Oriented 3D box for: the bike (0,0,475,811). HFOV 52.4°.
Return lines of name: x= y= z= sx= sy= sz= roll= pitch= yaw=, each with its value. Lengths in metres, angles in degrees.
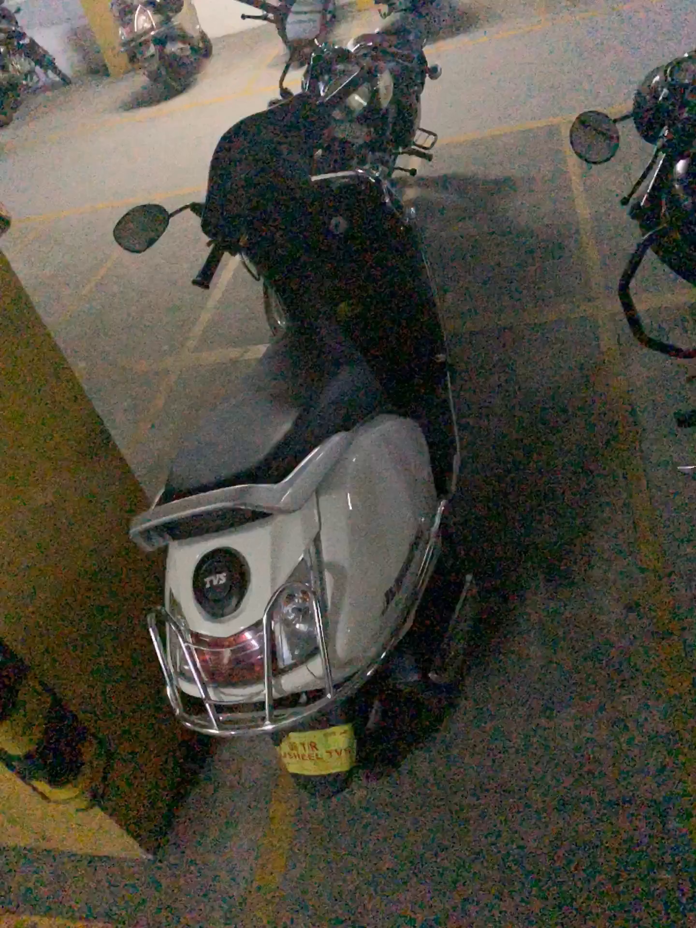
bike: x=-0.111 y=-0.226 z=1.739 sx=0.648 sy=1.158 sz=1.537 roll=-6 pitch=45 yaw=14
